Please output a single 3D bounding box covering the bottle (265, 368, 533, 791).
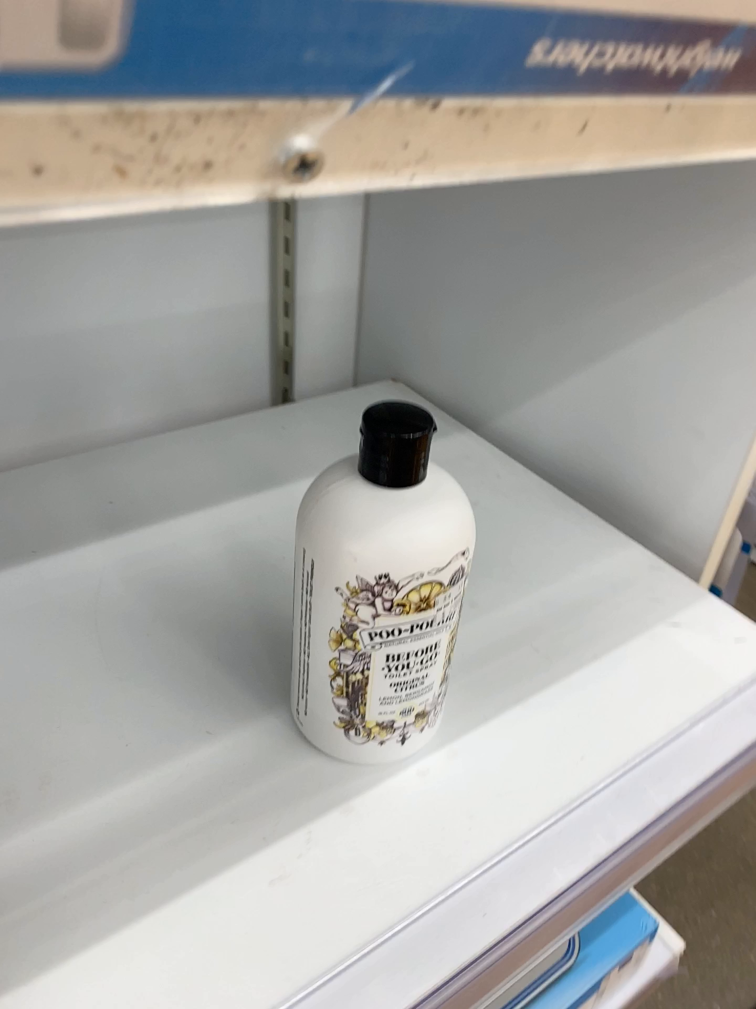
[{"bbox_3d":[0.000,0.032,0.329,0.073,0.153,0.070,4,34,-3],"label":"bottle"}]
